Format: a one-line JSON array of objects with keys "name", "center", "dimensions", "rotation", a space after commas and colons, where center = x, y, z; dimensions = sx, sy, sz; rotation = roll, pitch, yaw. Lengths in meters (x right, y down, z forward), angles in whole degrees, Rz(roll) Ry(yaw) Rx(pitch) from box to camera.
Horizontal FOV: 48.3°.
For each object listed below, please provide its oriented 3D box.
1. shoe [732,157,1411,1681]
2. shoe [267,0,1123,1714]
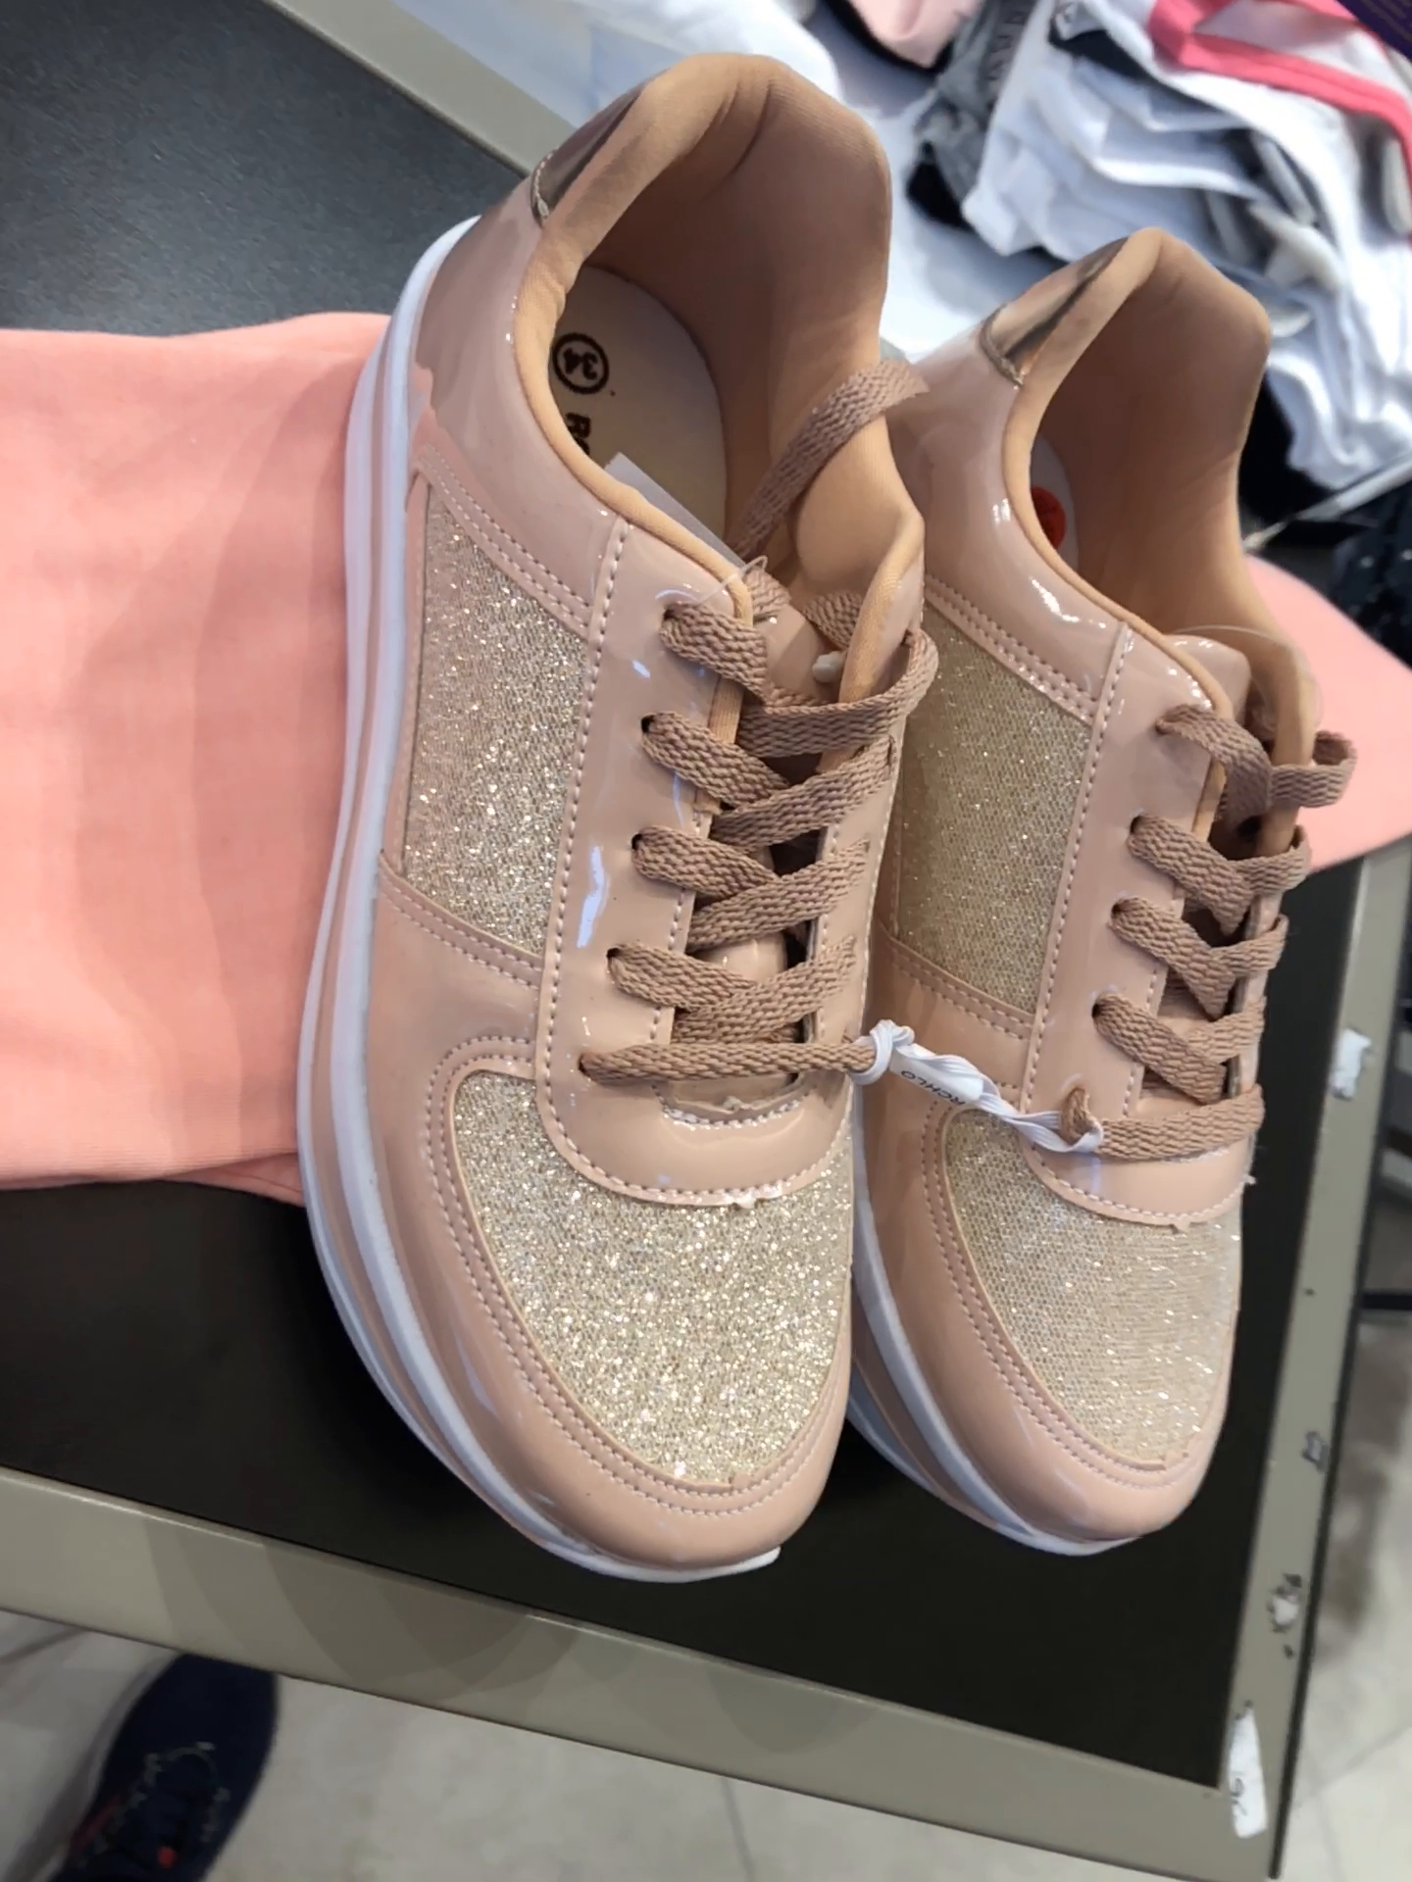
[{"name": "shoe", "center": [0.072, -0.003, 0.284], "dimensions": [0.090, 0.090, 0.220], "rotation": [2, 80, -28]}, {"name": "shoe", "center": [-0.012, -0.016, 0.251], "dimensions": [0.090, 0.100, 0.220], "rotation": [2, 80, -28]}]
